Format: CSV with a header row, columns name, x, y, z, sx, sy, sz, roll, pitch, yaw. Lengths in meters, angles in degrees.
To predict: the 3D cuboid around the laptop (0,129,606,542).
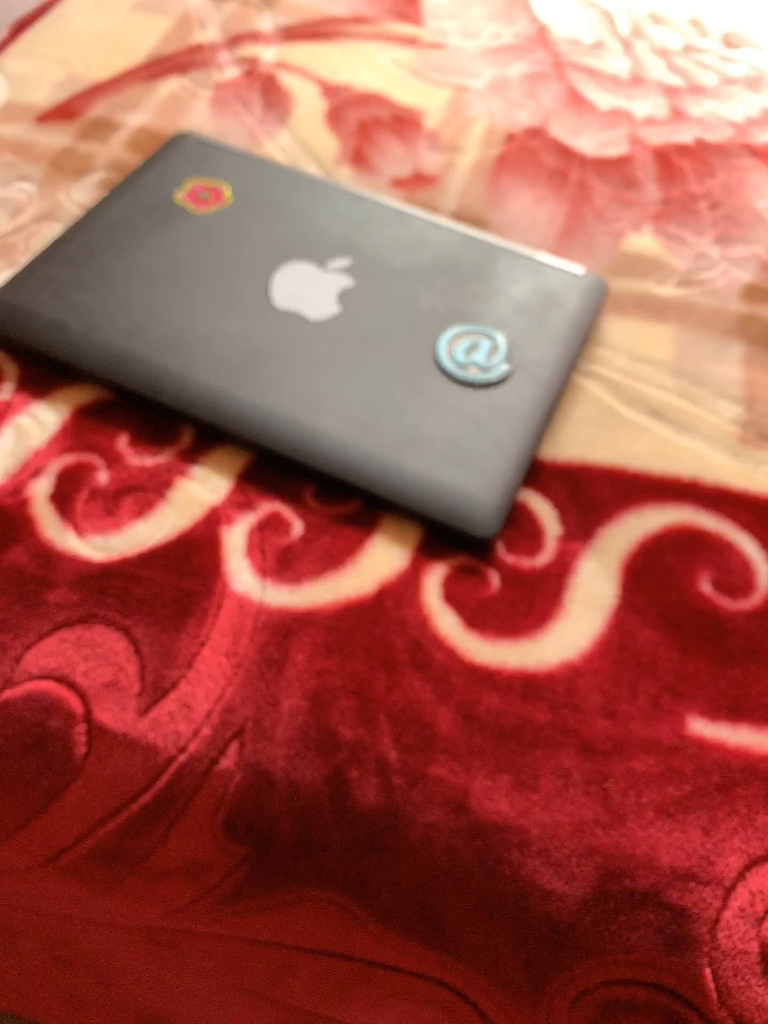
name,x,y,z,sx,sy,sz,roll,pitch,yaw
laptop,-0.043,-0.122,0.460,0.299,0.001,0.209,23,56,11
